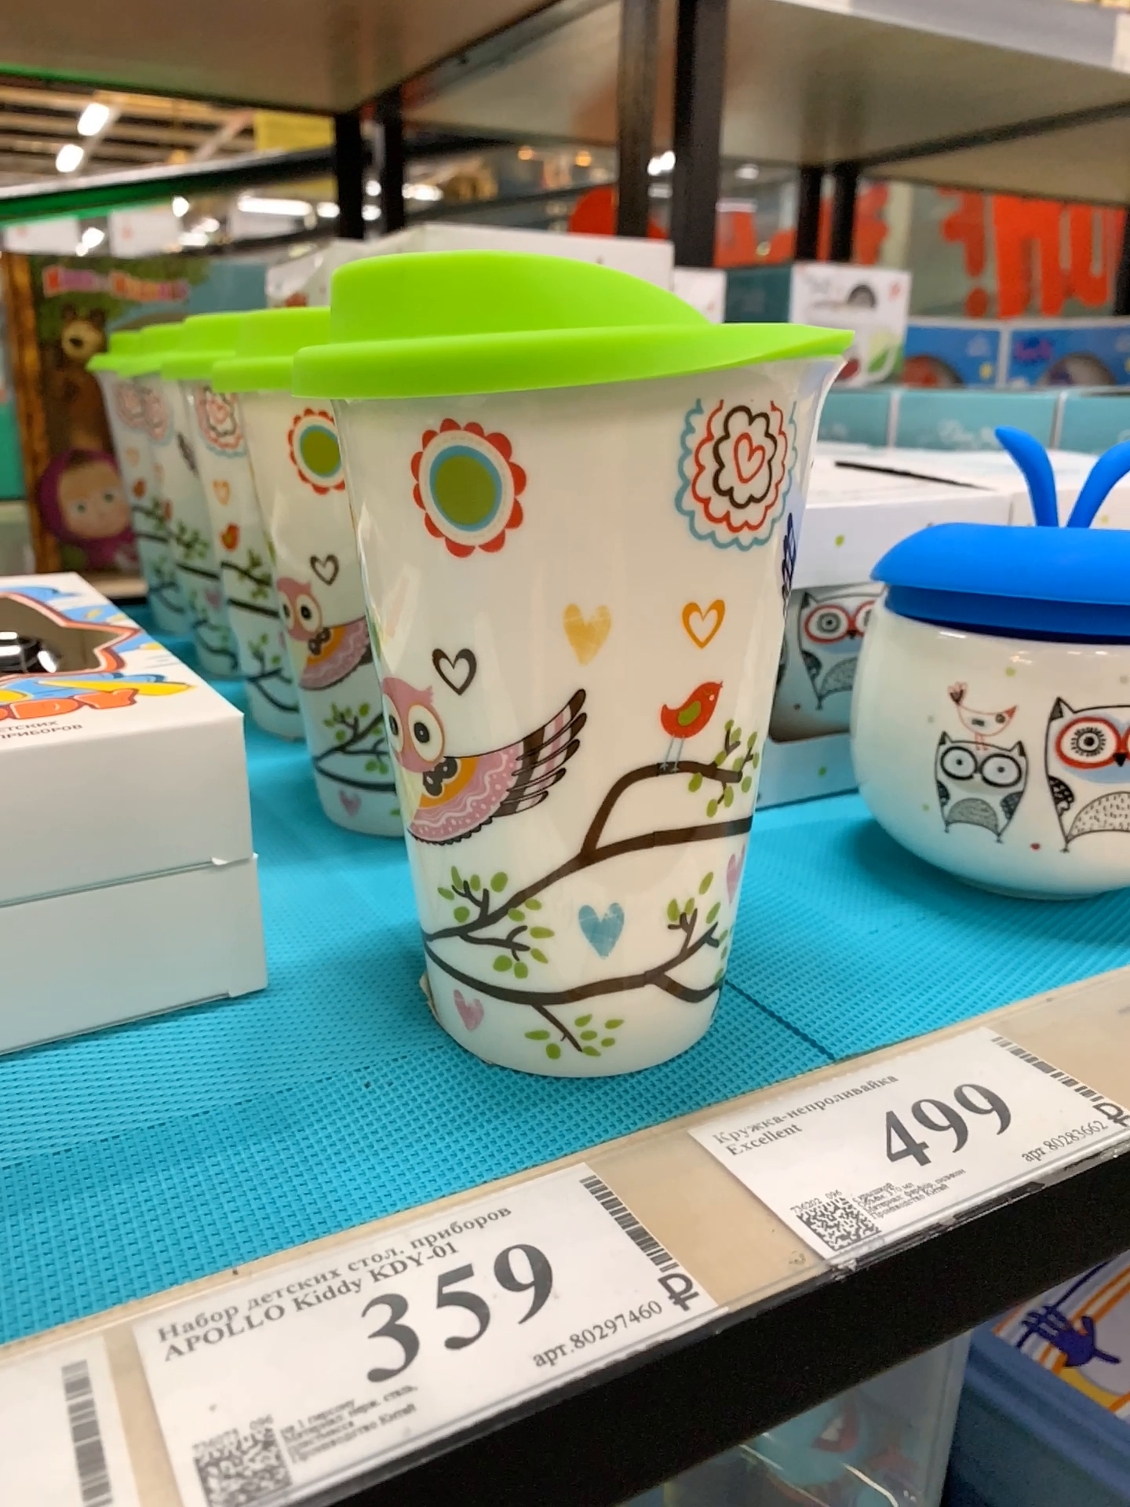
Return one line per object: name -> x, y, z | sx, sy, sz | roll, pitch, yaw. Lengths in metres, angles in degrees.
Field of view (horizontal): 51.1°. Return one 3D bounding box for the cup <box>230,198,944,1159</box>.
cup -> 0.000, -0.020, 0.220 | 0.091, 0.136, 0.084 | 0, 17, 0
